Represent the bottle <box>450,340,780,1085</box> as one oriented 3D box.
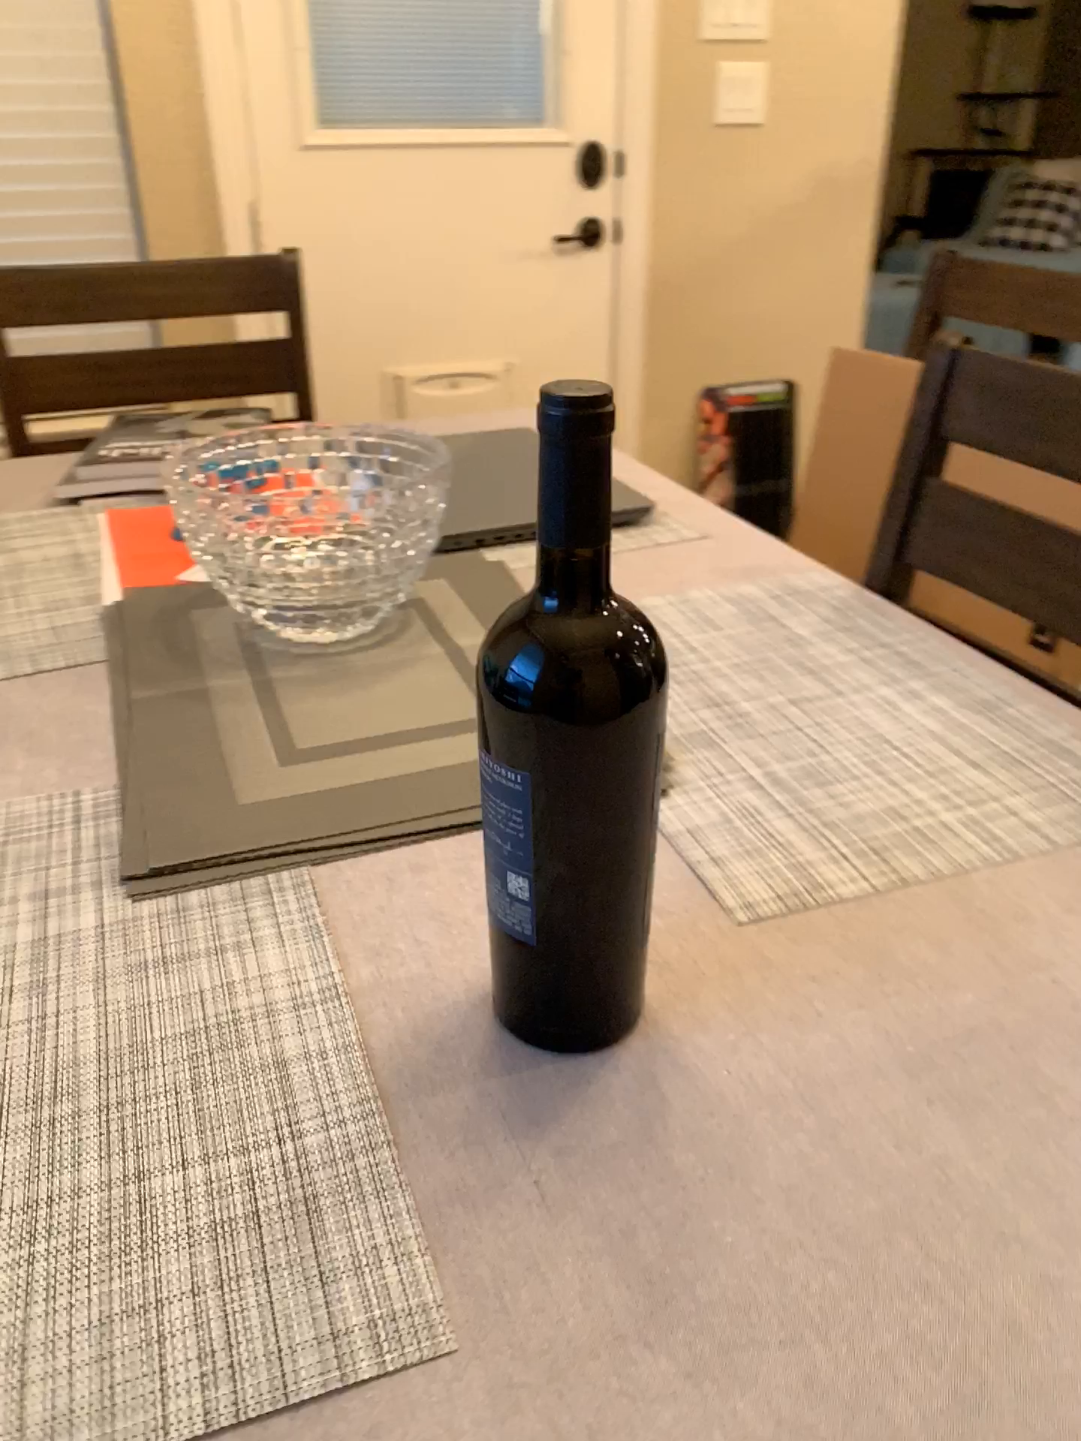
[{"bbox_3d":[0.025,0.002,0.480,0.090,0.298,0.090,0,28,0],"label":"bottle"}]
